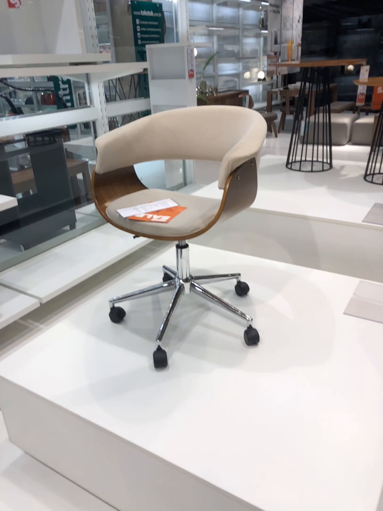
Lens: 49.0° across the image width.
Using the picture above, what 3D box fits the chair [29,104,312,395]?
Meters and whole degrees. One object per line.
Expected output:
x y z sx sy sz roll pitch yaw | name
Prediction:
-0.013 -0.115 1.475 0.631 0.725 0.674 11 28 29 | chair
